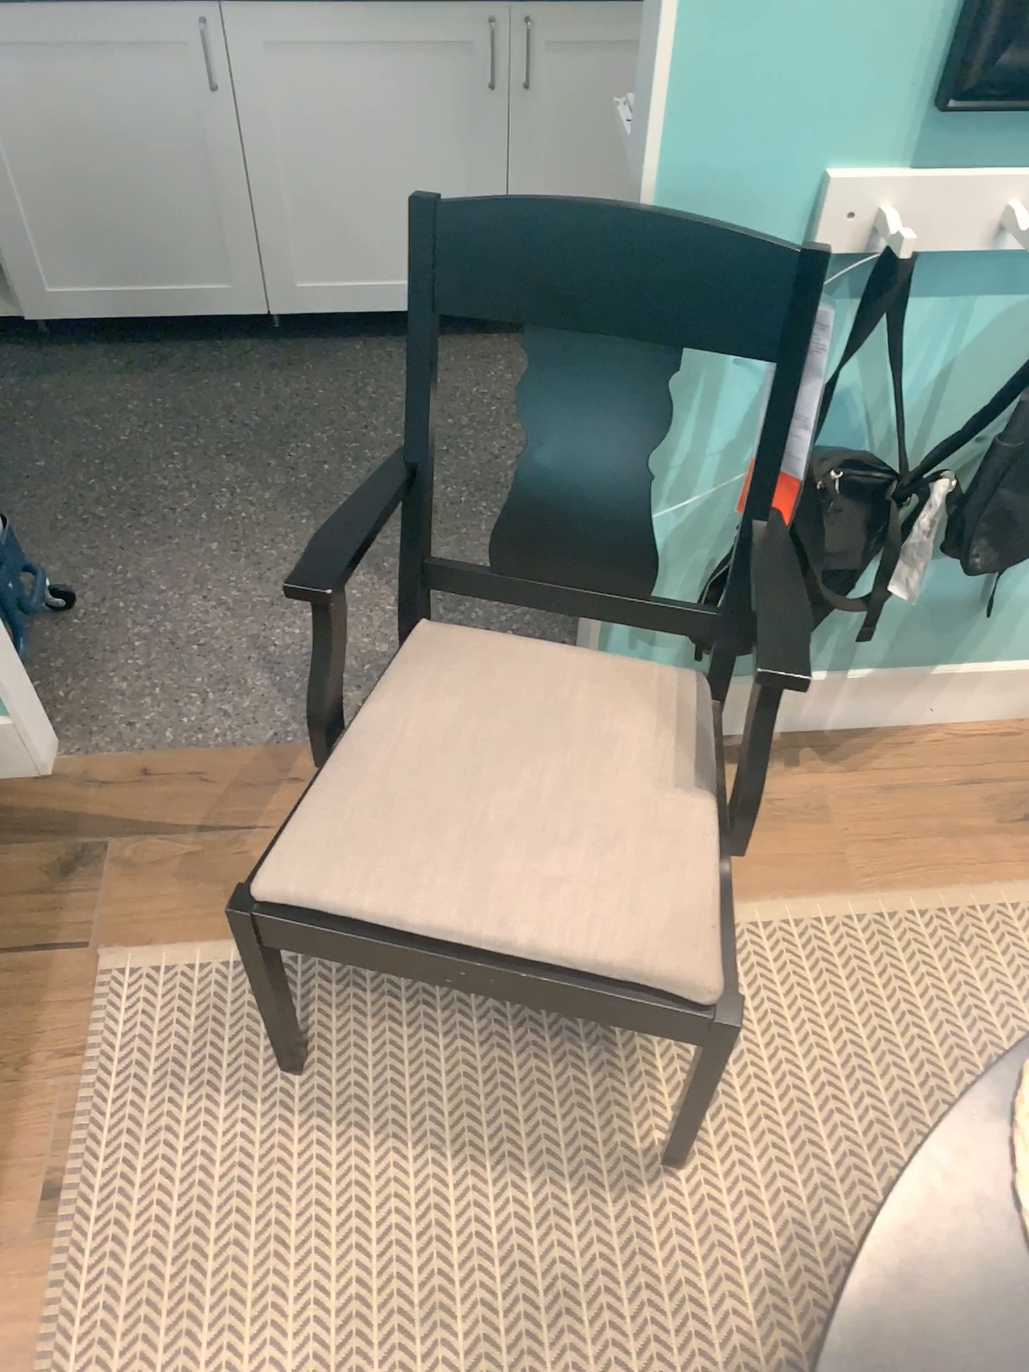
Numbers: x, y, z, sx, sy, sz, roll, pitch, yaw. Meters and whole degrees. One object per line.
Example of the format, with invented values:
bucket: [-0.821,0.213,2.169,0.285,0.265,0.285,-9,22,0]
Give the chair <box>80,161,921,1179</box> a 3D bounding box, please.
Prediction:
chair: [0.053,-0.003,1.326,0.600,0.897,0.802,10,49,8]
